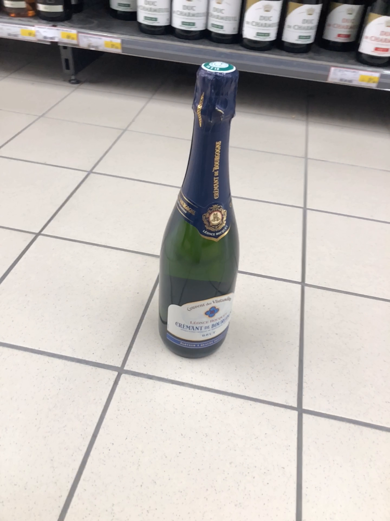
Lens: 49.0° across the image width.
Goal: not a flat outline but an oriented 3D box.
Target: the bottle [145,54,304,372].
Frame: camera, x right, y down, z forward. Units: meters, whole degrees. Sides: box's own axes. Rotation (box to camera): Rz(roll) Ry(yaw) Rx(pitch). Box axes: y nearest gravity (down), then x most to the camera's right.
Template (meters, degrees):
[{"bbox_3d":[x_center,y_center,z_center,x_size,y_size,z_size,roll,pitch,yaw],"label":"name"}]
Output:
[{"bbox_3d":[0.008,-0.030,0.436,0.100,0.308,0.100,3,39,-3],"label":"bottle"}]
